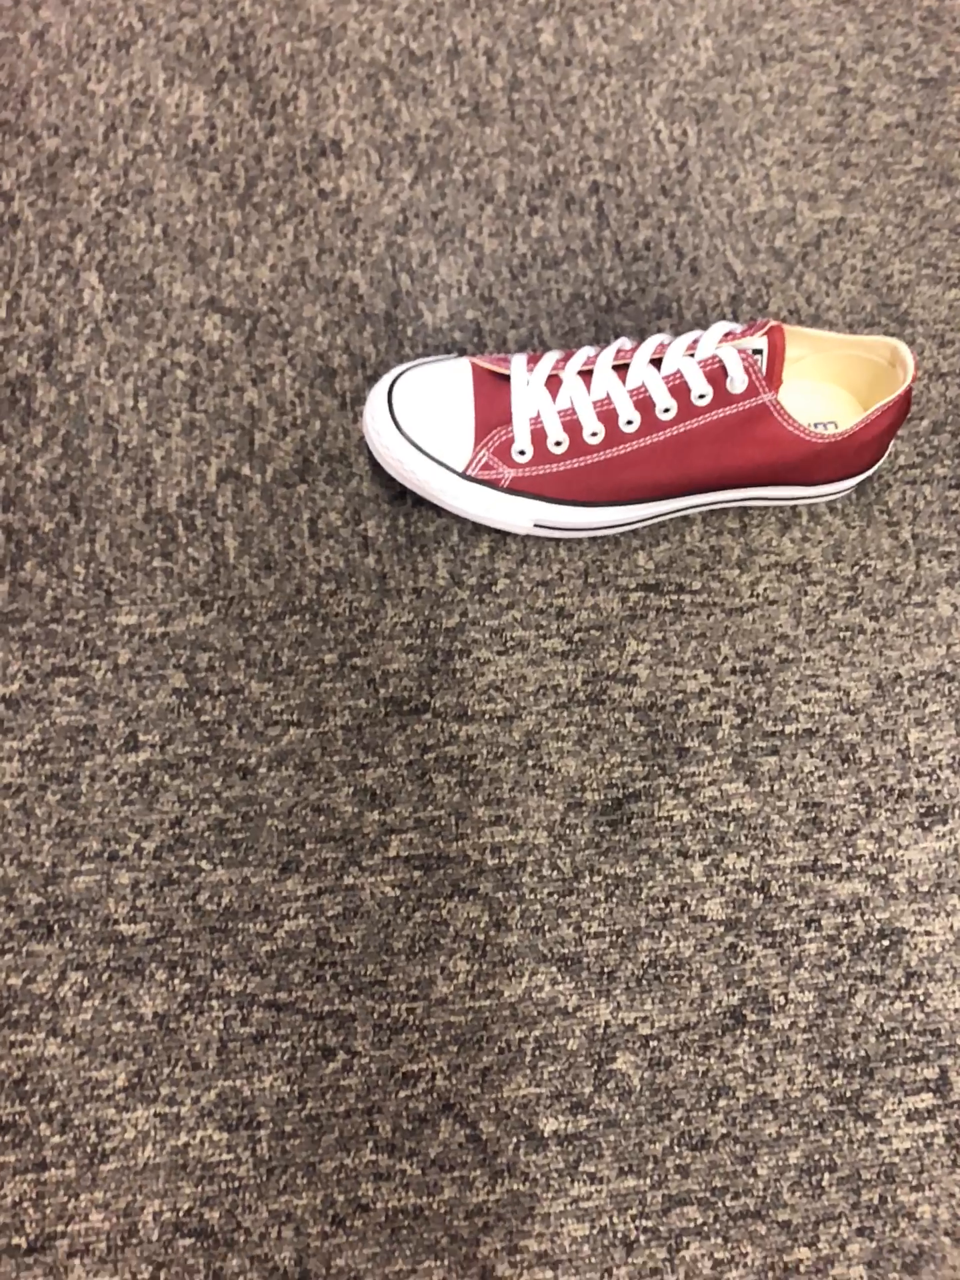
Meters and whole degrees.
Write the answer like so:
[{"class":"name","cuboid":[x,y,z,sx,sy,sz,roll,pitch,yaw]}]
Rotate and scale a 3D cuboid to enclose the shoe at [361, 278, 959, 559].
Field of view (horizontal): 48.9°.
[{"class":"shoe","cuboid":[0.082,-0.106,0.527,0.280,0.090,0.100,-1,65,-6]}]
